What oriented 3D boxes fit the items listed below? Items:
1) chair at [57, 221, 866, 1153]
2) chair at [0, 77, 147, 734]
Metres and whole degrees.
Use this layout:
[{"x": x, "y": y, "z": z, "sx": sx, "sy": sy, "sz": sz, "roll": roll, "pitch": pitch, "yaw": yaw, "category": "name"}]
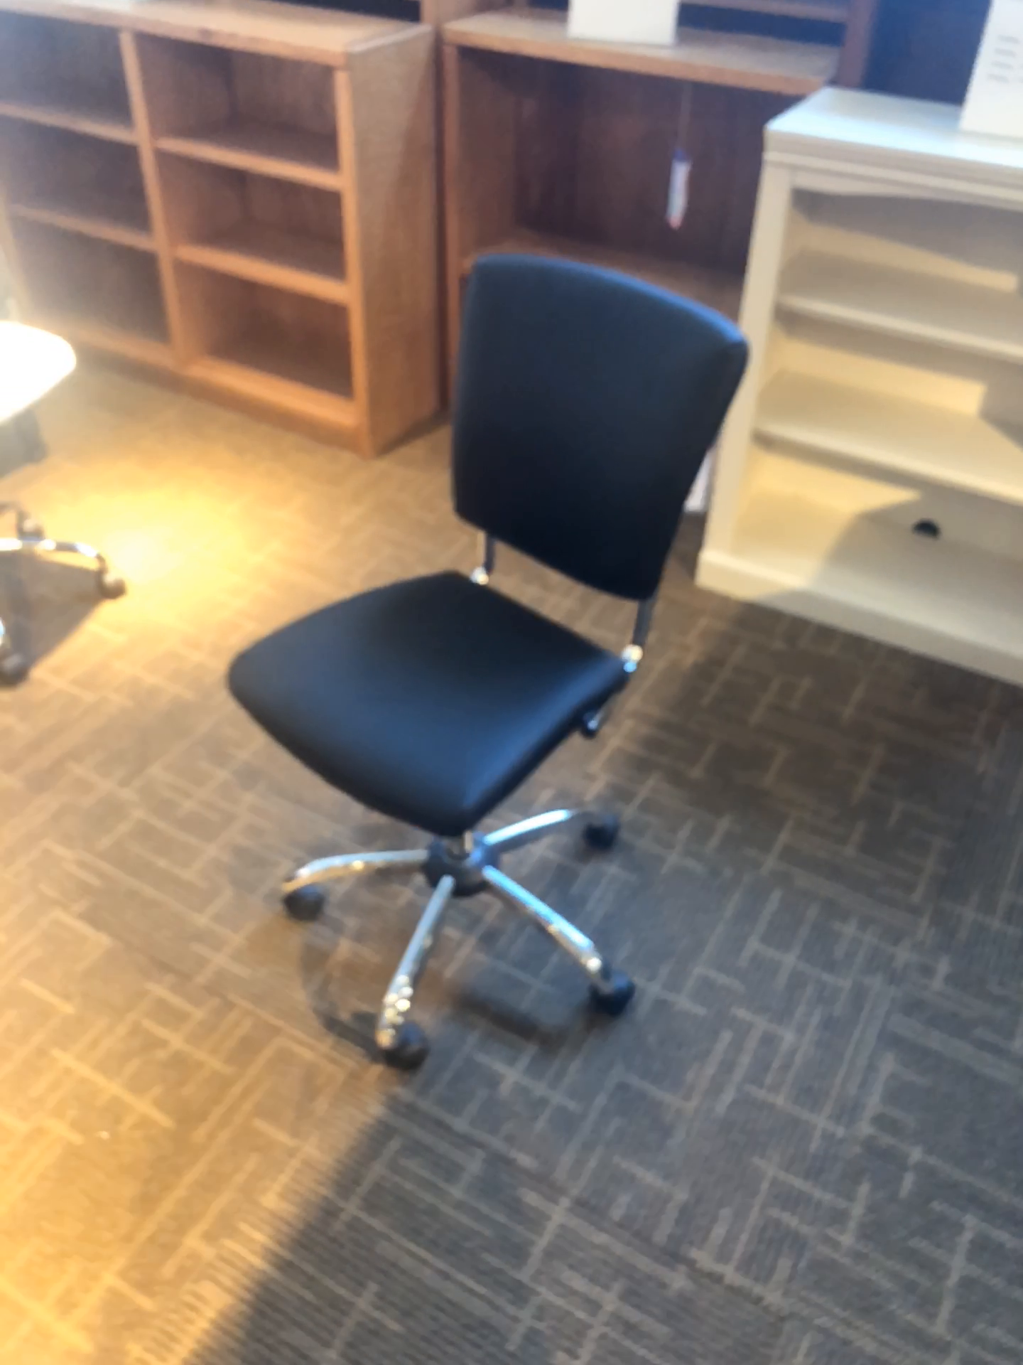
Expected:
[{"x": -0.047, "y": -0.020, "z": 1.440, "sx": 0.574, "sy": 0.826, "sz": 0.609, "roll": 30, "pitch": 47, "yaw": 30, "category": "chair"}, {"x": -1.187, "y": -0.512, "z": 2.098, "sx": 0.607, "sy": 0.915, "sz": 0.586, "roll": 16, "pitch": 42, "yaw": 18, "category": "chair"}]
